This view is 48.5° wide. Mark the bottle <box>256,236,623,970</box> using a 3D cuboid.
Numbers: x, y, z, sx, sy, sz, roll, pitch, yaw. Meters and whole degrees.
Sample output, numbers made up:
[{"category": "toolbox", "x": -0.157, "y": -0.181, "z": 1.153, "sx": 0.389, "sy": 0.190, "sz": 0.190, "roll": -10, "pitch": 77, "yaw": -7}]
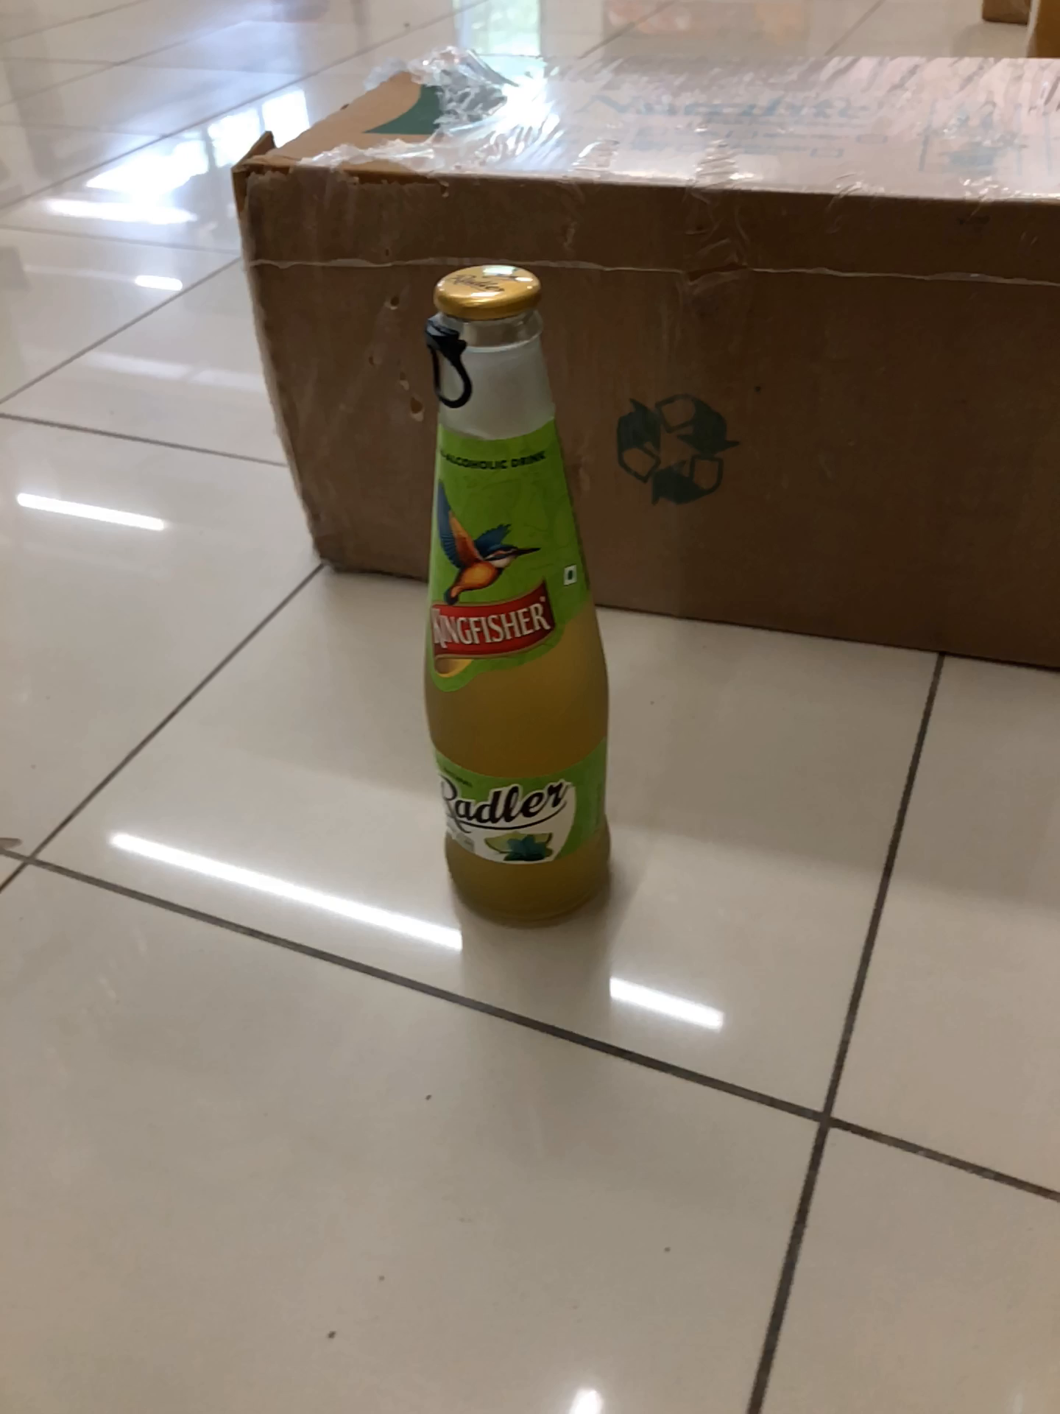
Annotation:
[{"category": "bottle", "x": -0.015, "y": -0.021, "z": 0.349, "sx": 0.070, "sy": 0.209, "sz": 0.060, "roll": 12, "pitch": 42, "yaw": 18}]
